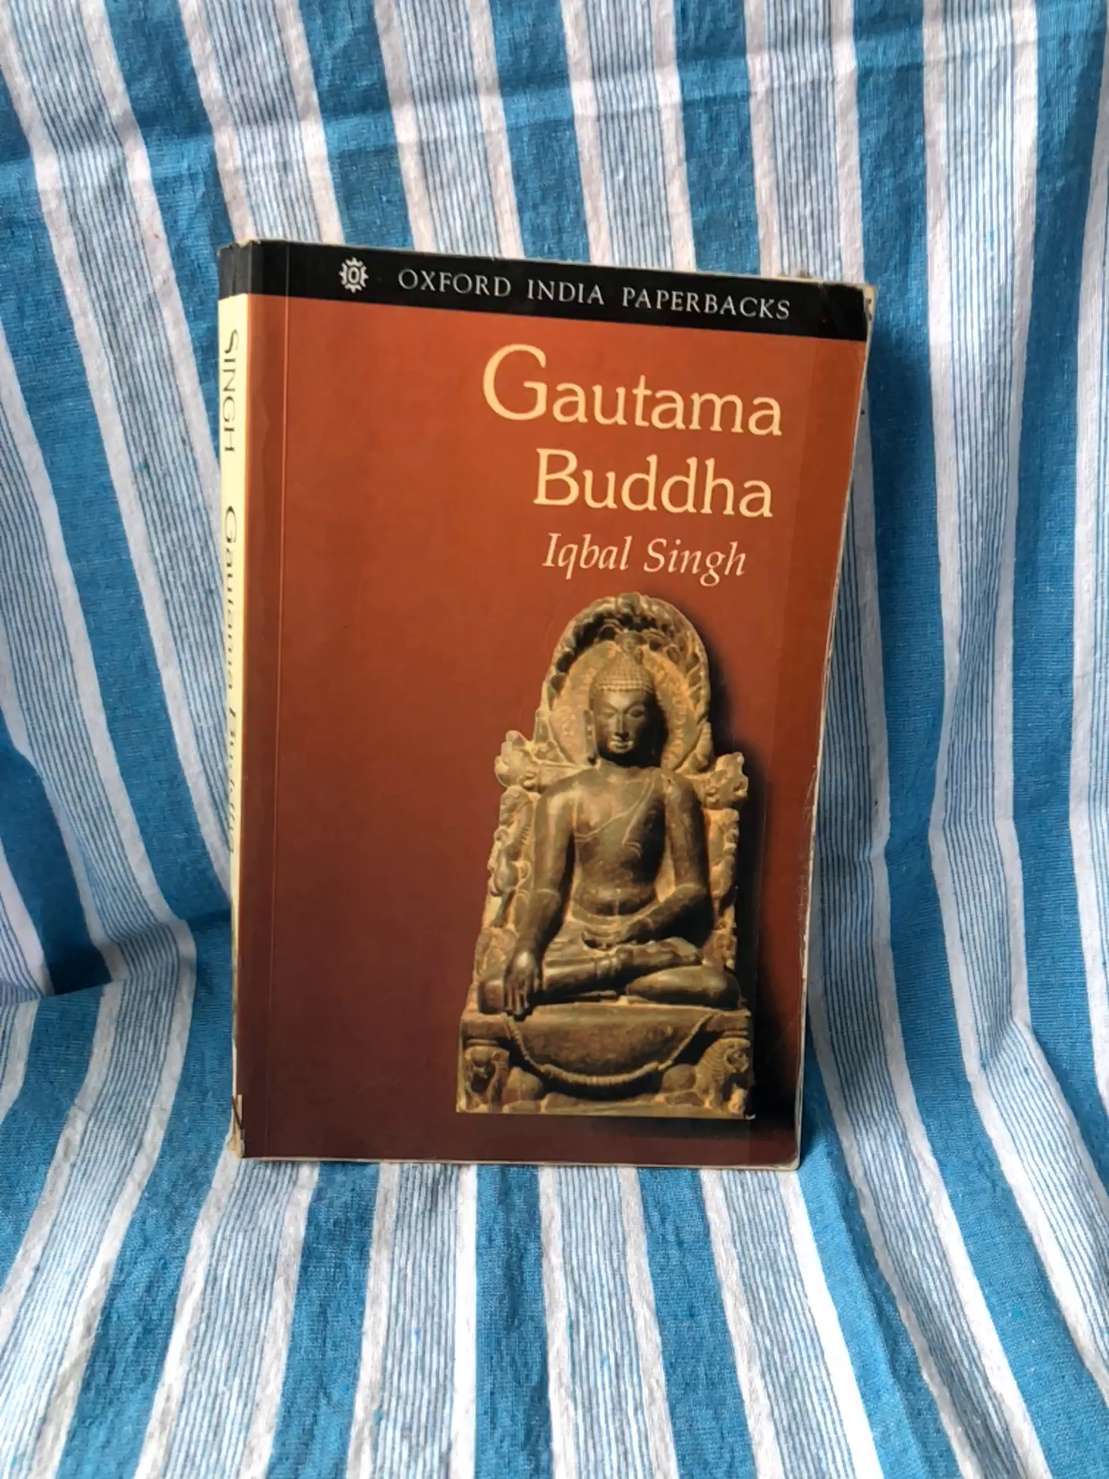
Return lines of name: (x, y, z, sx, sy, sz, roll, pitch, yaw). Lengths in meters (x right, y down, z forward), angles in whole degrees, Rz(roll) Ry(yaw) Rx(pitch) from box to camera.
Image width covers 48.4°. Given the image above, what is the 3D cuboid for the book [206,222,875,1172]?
book: (-0.006, -0.005, 0.294, 0.140, 0.210, 0.040, 1, 9, -2)
